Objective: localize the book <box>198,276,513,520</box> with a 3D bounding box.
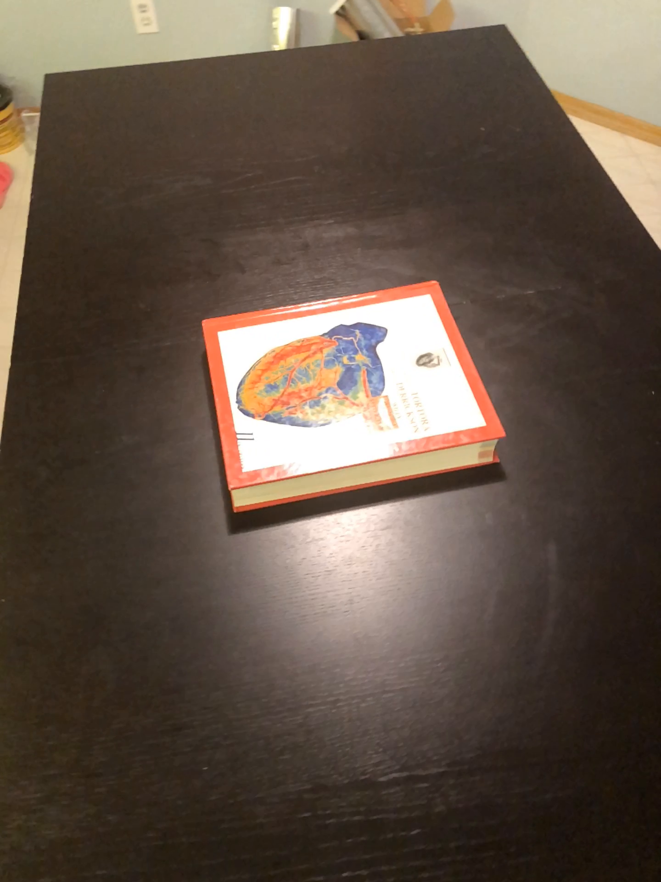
[{"bbox_3d":[0.014,-0.059,0.807,0.290,0.050,0.251,-10,53,-6],"label":"book"}]
